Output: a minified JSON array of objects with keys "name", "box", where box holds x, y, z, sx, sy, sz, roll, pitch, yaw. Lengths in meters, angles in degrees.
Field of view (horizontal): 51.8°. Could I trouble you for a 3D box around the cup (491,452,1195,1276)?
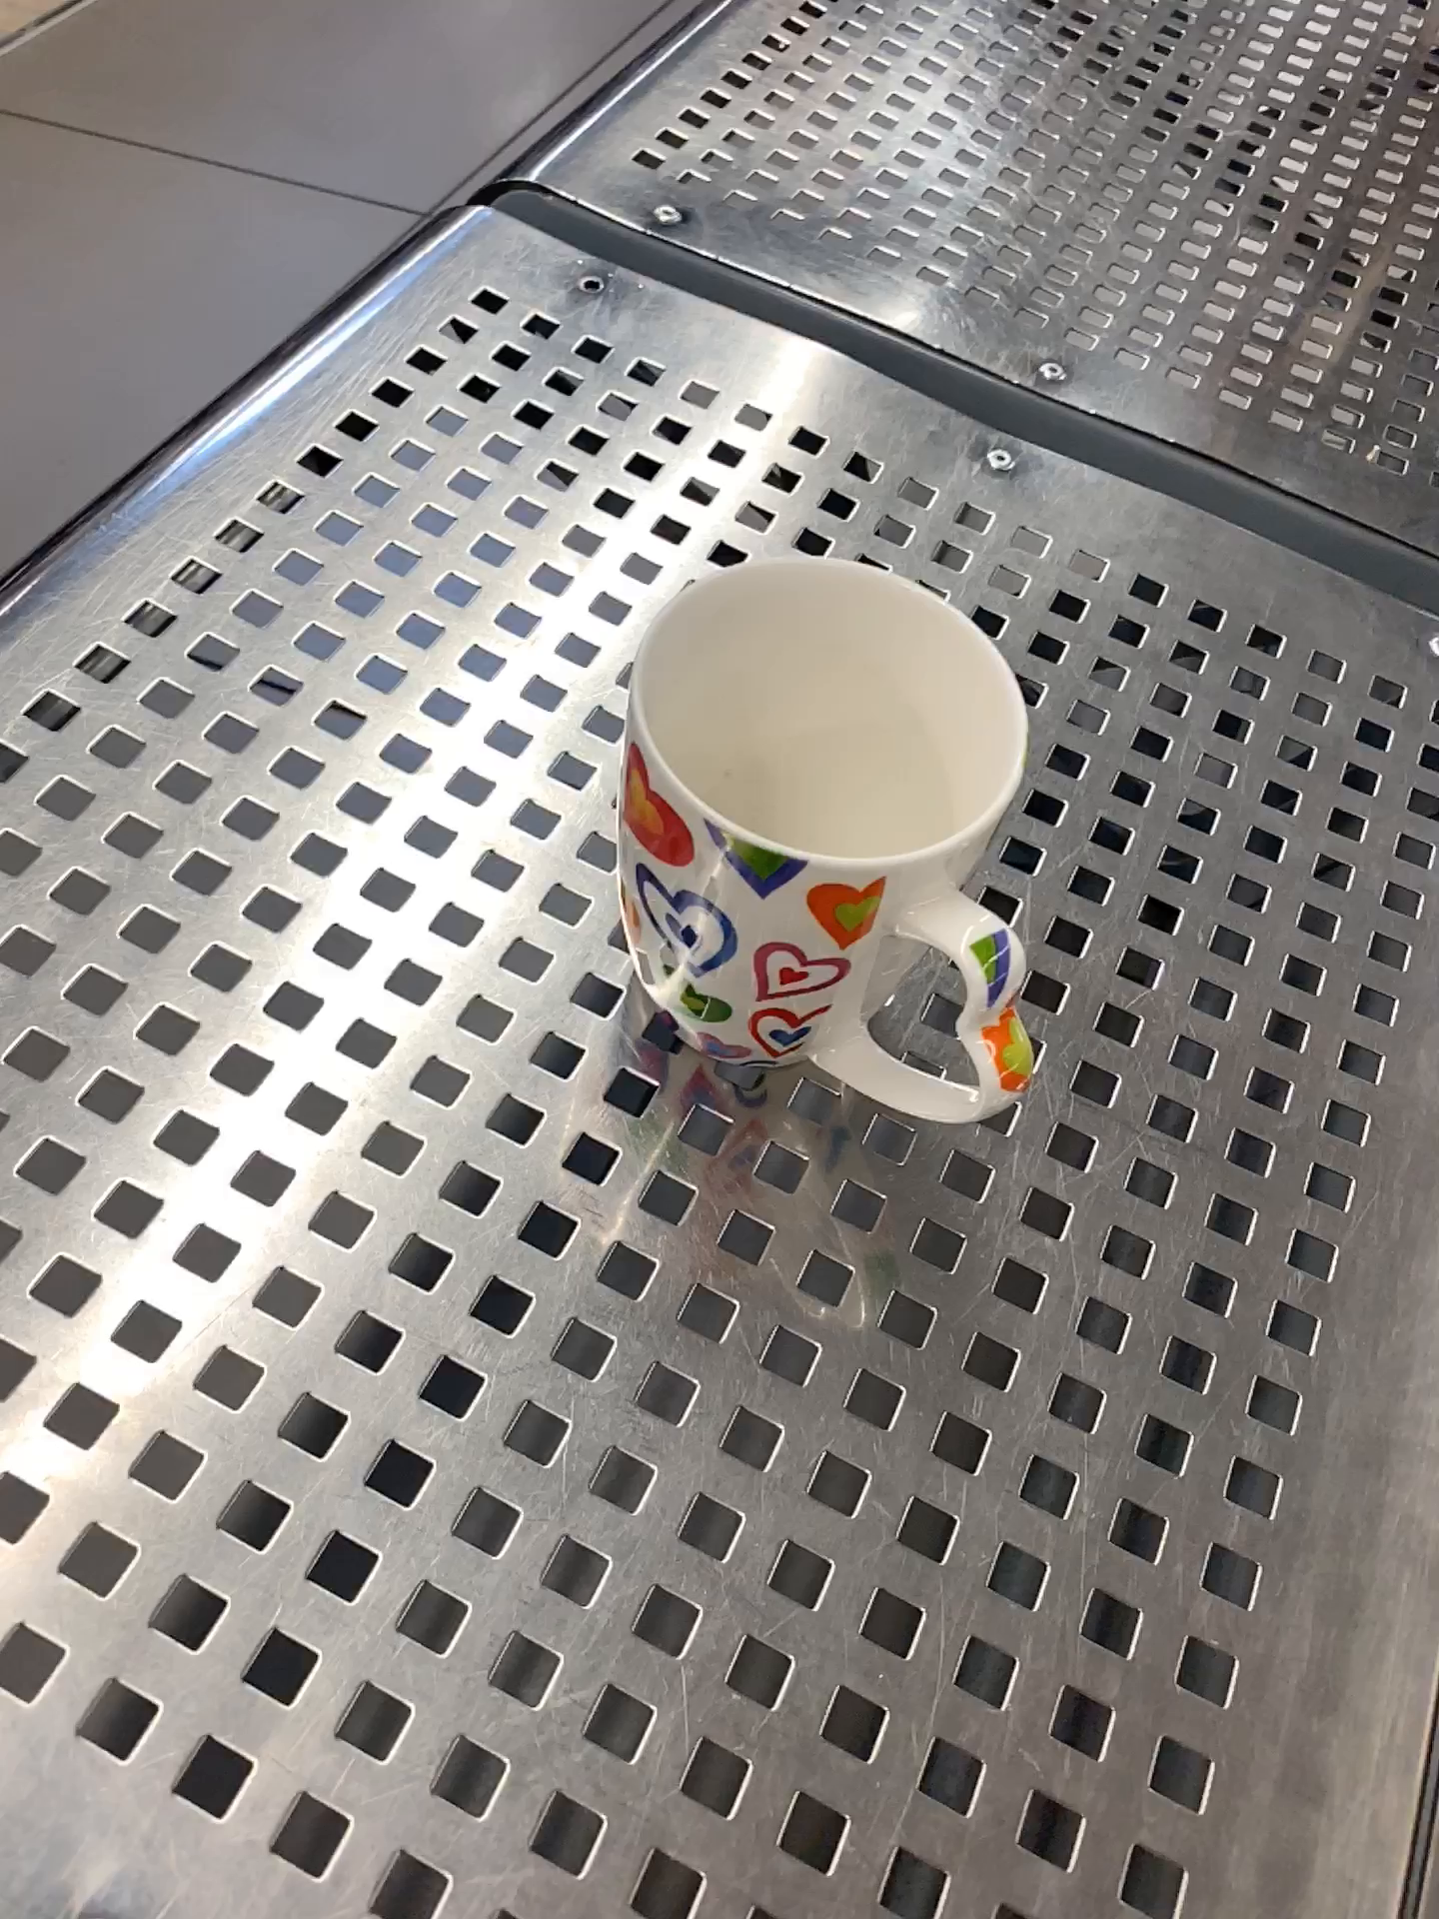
[{"name":"cup","box":[0.014,-0.018,0.308,0.070,0.100,0.120,-28,65,-22]}]
